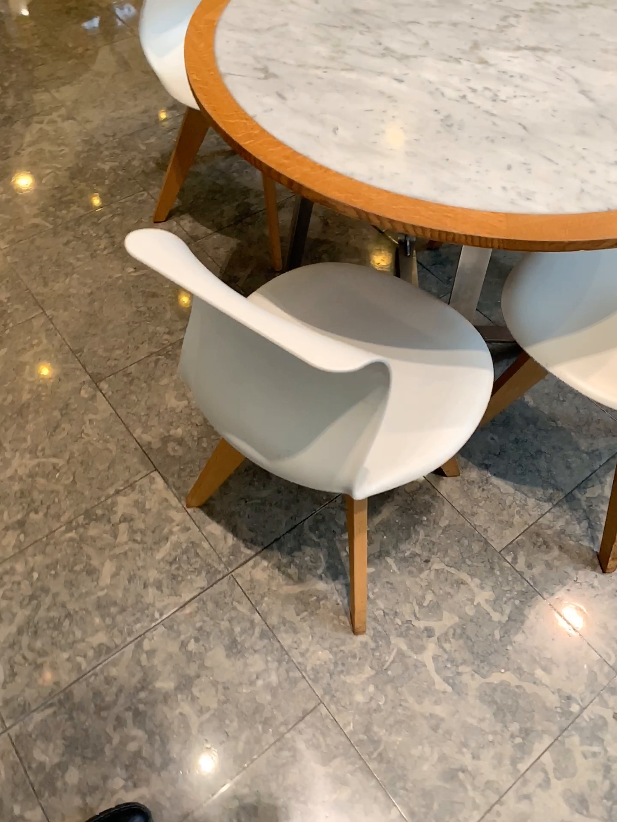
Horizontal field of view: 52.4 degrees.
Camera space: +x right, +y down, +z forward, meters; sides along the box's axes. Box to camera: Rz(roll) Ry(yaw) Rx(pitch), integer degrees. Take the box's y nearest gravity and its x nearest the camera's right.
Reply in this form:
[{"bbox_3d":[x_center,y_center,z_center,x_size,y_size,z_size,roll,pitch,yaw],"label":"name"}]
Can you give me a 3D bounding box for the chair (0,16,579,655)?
[{"bbox_3d":[-0.021,-0.052,1.138,0.501,0.913,0.543,32,61,19],"label":"chair"}]
